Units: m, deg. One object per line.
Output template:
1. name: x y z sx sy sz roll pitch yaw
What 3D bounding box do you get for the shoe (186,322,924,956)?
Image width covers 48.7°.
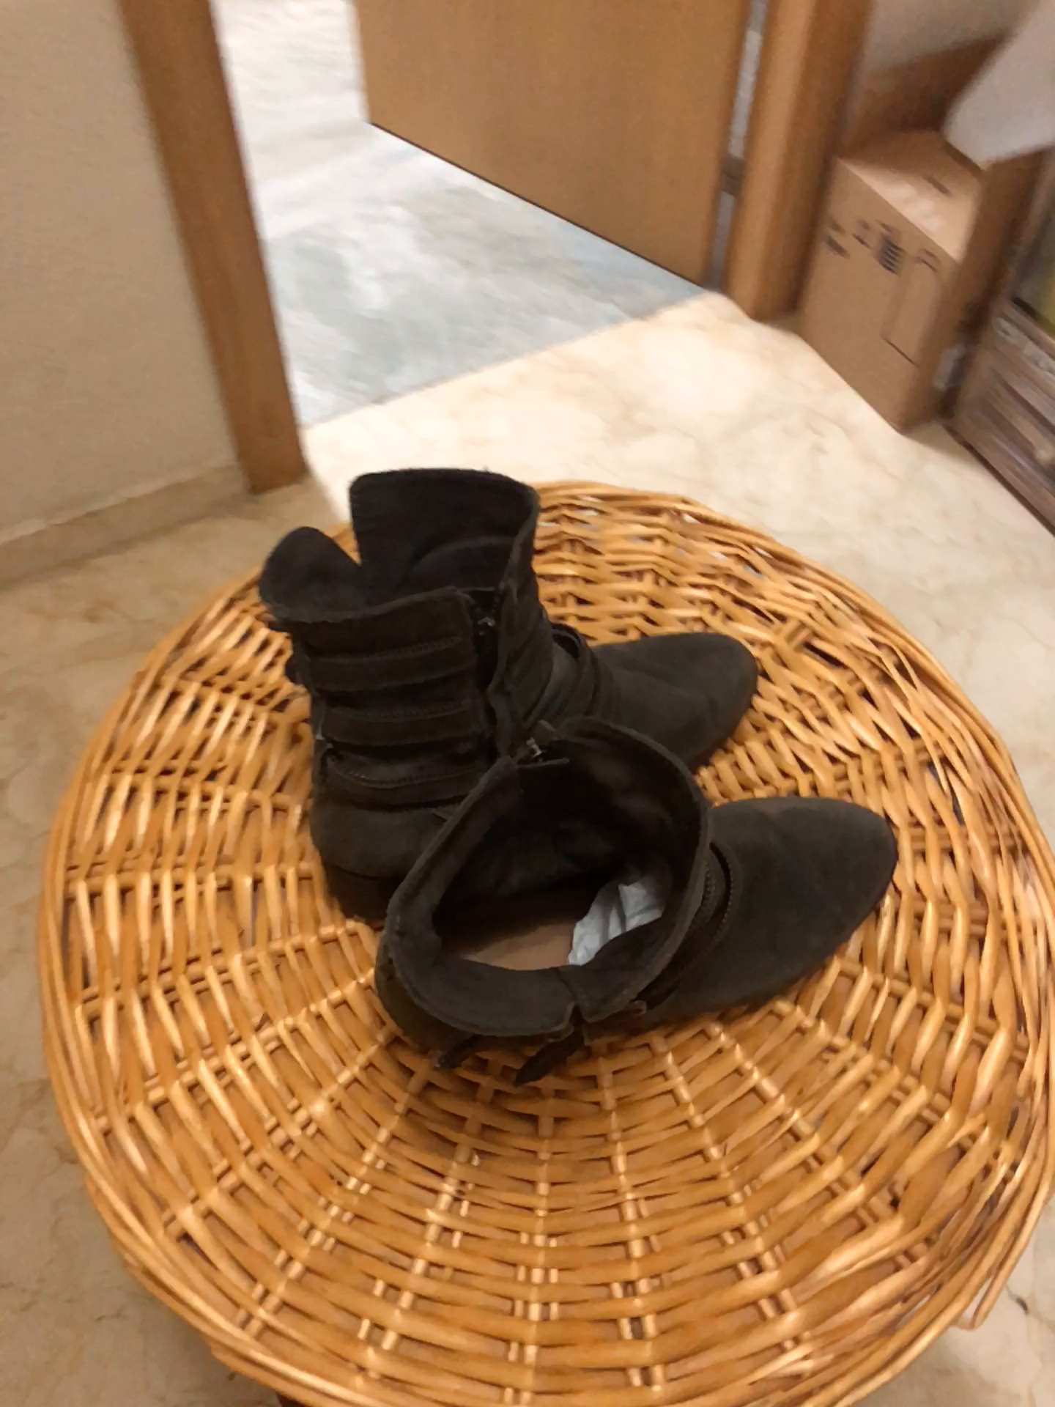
1. shoe: 0.013 -0.027 0.512 0.260 0.169 0.110 -24 58 -16

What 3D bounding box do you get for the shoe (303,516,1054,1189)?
1. shoe: 0.063 0.063 0.458 0.260 0.170 0.110 -24 66 -16
